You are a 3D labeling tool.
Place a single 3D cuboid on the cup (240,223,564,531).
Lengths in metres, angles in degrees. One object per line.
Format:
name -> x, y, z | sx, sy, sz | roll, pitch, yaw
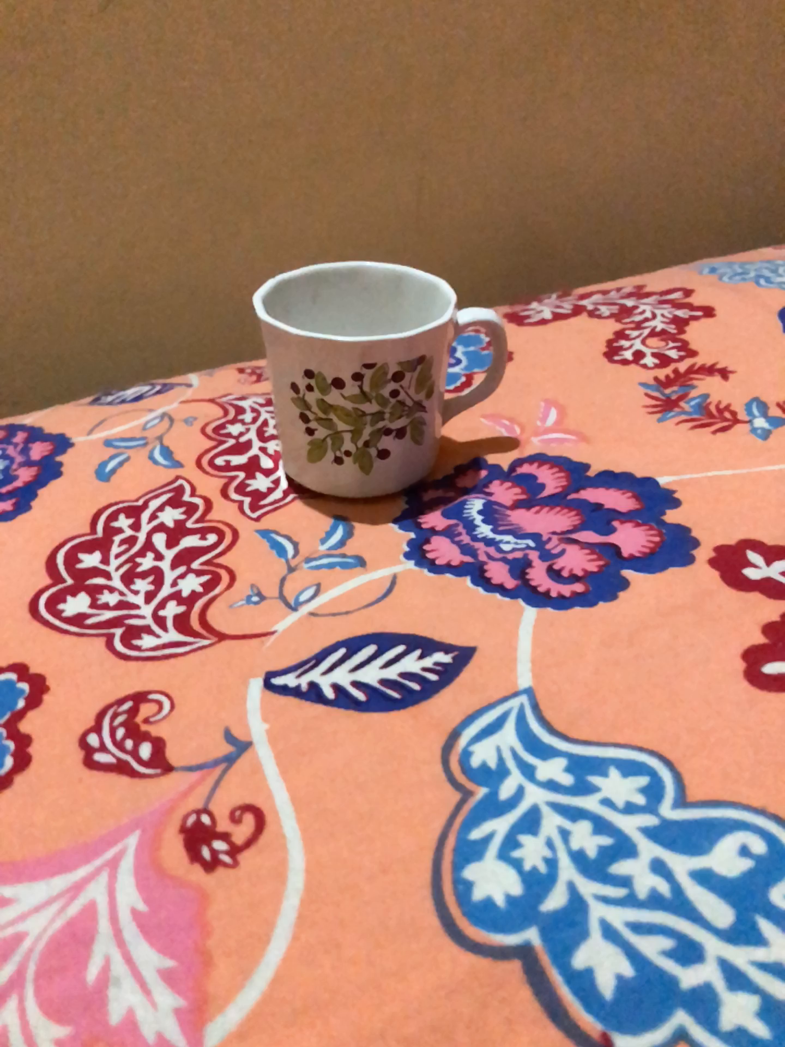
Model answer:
cup -> 0.001, -0.050, 0.287 | 0.090, 0.069, 0.060 | -8, 37, -6
